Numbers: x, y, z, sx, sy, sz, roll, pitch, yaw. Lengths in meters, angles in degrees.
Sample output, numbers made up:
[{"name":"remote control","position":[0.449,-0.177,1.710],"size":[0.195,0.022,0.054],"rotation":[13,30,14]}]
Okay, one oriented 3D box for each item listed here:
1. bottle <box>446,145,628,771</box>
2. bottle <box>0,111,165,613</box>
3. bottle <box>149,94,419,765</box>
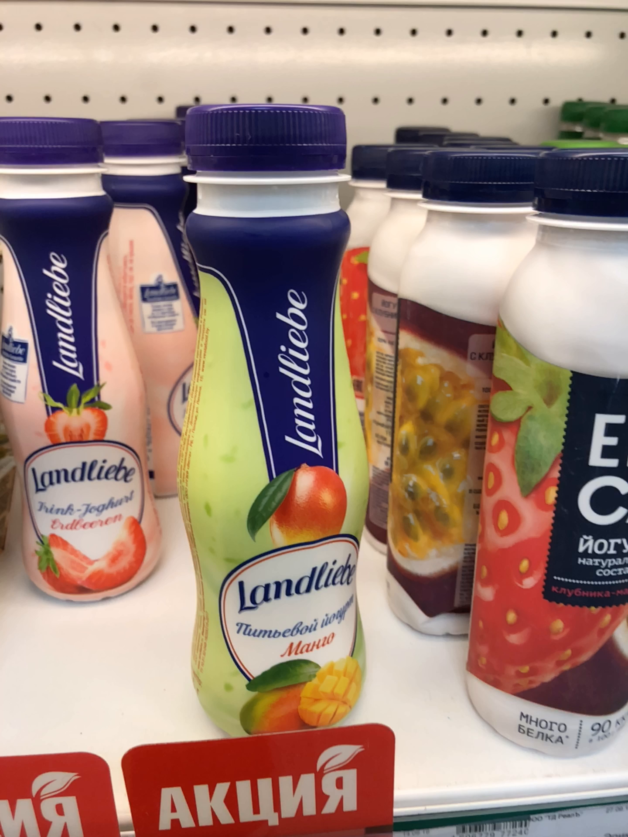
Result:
[{"name":"bottle","position":[0.075,0.015,0.202],"size":[0.051,0.173,0.048],"rotation":[0,22,0]},{"name":"bottle","position":[-0.094,-0.020,0.268],"size":[0.056,0.179,0.054],"rotation":[0,22,0]},{"name":"bottle","position":[-0.010,0.006,0.200],"size":[0.055,0.177,0.054],"rotation":[0,22,0]}]
